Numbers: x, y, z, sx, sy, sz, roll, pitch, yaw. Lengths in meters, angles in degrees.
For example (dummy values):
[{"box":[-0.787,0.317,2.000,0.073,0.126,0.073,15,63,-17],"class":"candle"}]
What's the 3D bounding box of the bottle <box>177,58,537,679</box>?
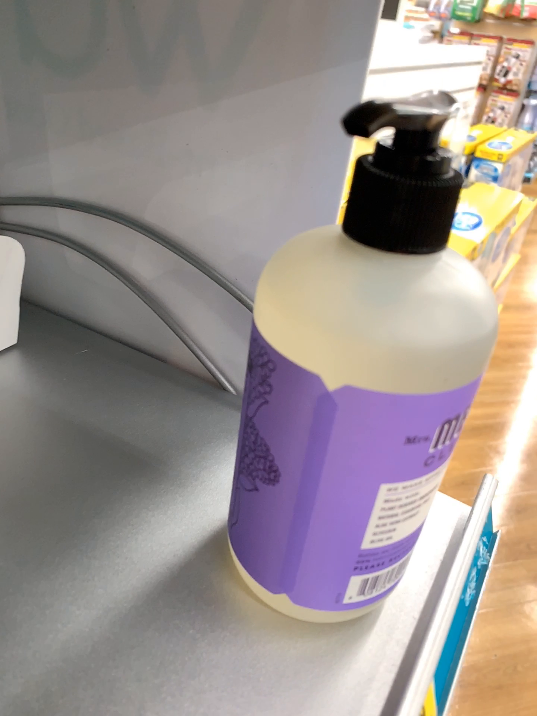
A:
[{"box":[0.024,0.004,0.171,0.070,0.159,0.080,18,34,16],"class":"bottle"}]
